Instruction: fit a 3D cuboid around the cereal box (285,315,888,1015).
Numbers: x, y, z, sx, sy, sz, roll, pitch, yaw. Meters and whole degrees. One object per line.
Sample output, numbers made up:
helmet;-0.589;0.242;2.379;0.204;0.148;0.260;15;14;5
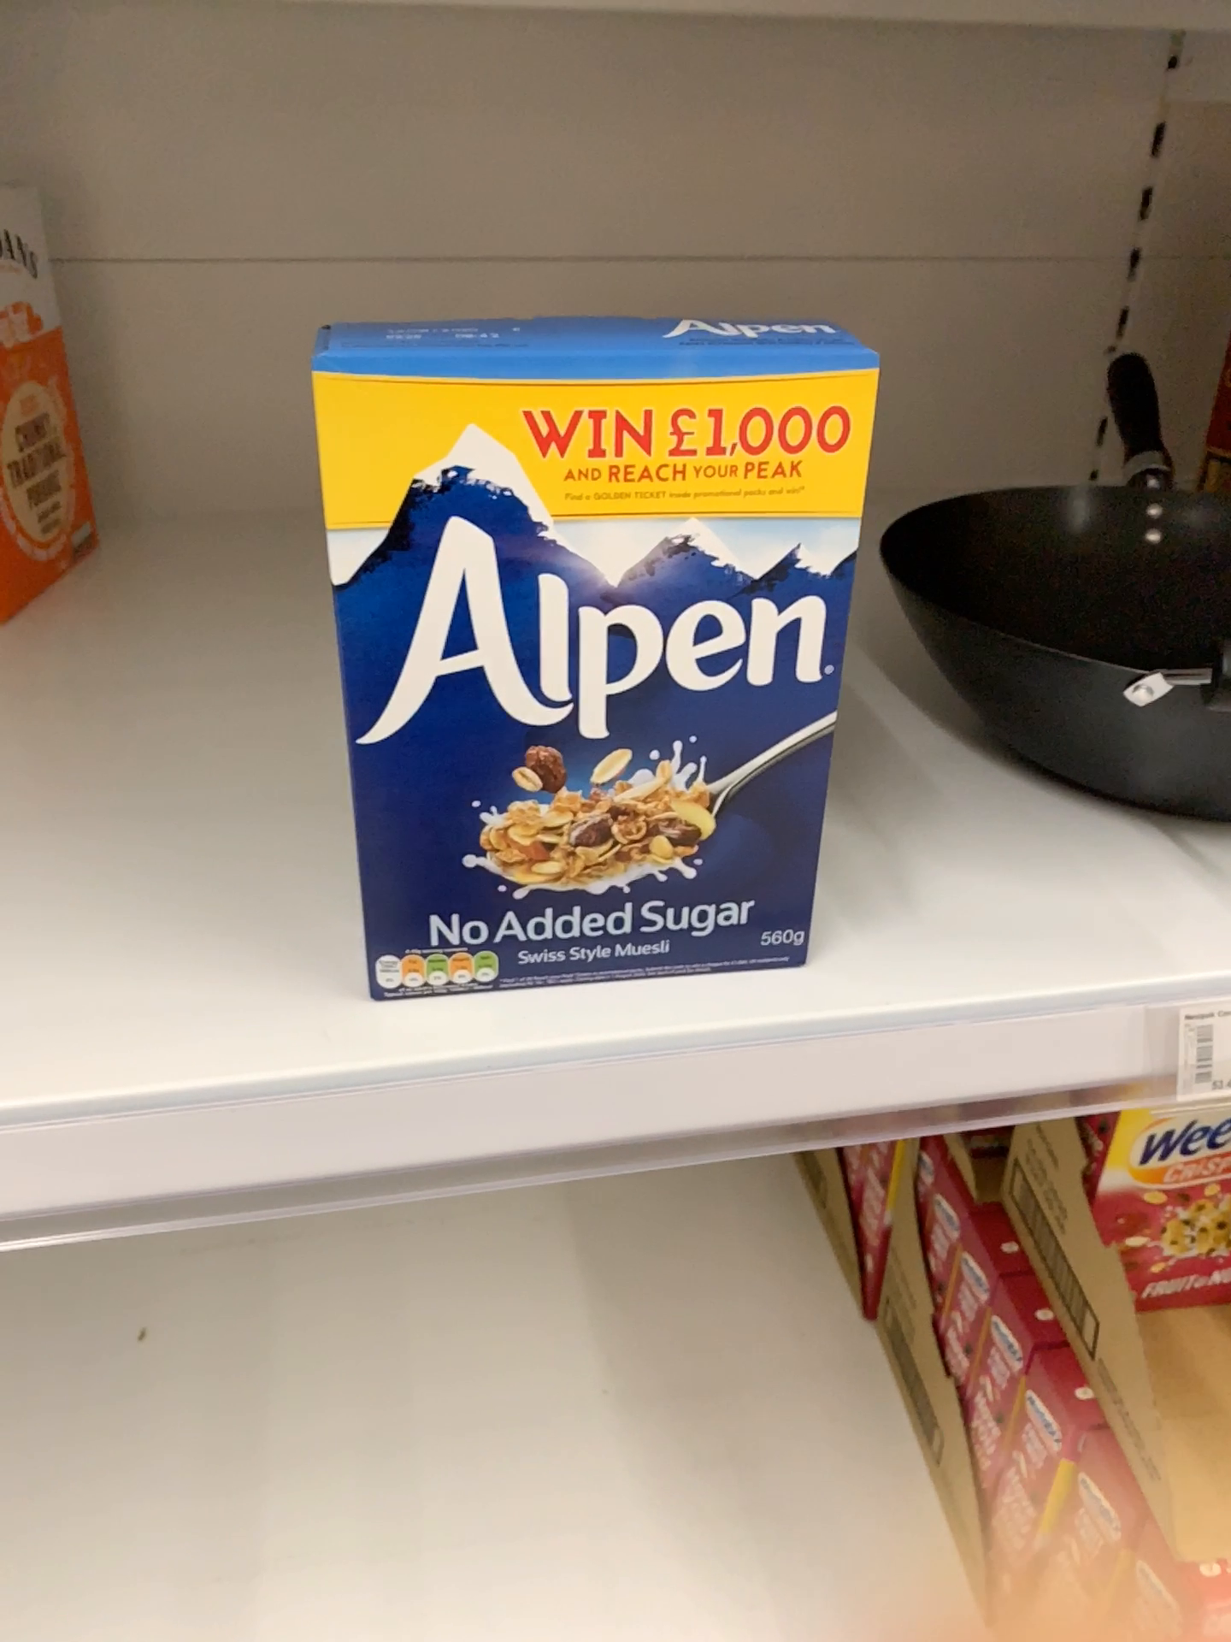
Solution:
cereal box;-0.012;-0.051;0.459;0.180;0.238;0.061;-3;29;-8
